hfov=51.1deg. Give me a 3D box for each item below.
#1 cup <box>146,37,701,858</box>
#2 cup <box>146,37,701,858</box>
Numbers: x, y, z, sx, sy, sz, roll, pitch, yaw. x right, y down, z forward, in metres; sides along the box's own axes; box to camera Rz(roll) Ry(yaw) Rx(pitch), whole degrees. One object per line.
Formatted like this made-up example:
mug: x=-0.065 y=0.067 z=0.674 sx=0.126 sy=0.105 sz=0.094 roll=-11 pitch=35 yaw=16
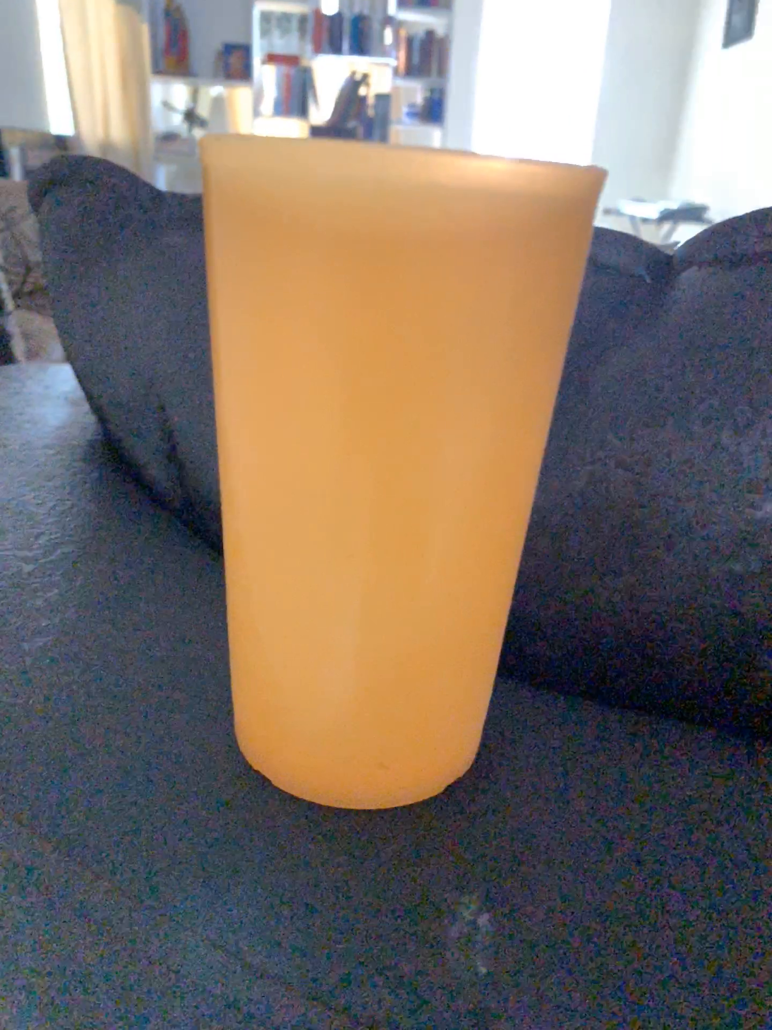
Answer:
cup: x=0.001 y=-0.016 z=0.166 sx=0.070 sy=0.129 sz=0.070 roll=2 pitch=22 yaw=-1
cup: x=0.001 y=-0.016 z=0.166 sx=0.070 sy=0.129 sz=0.070 roll=2 pitch=22 yaw=-1
